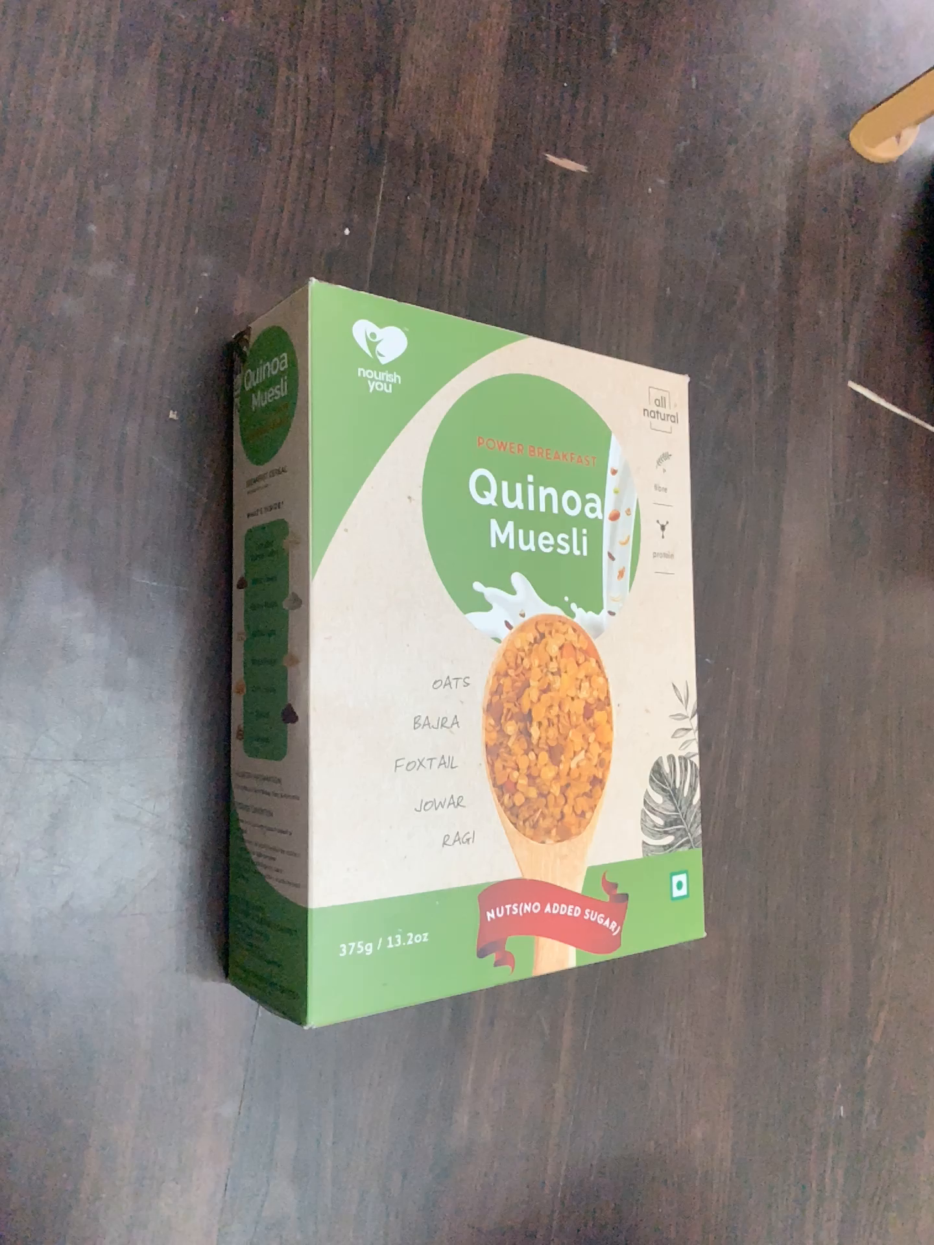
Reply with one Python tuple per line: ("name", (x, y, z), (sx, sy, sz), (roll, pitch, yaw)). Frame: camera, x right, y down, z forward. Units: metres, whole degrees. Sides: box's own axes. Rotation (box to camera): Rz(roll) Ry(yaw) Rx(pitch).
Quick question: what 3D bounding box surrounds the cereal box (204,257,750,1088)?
("cereal box", (0.010, 0.015, 0.320), (0.171, 0.070, 0.210), (2, 87, -34))
